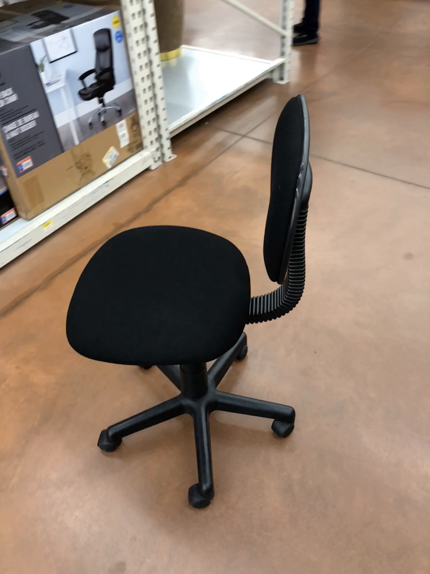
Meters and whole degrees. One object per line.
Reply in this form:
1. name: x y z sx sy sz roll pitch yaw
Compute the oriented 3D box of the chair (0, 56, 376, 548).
1. chair: -0.098 0.030 1.046 0.660 0.797 0.672 3 43 7
